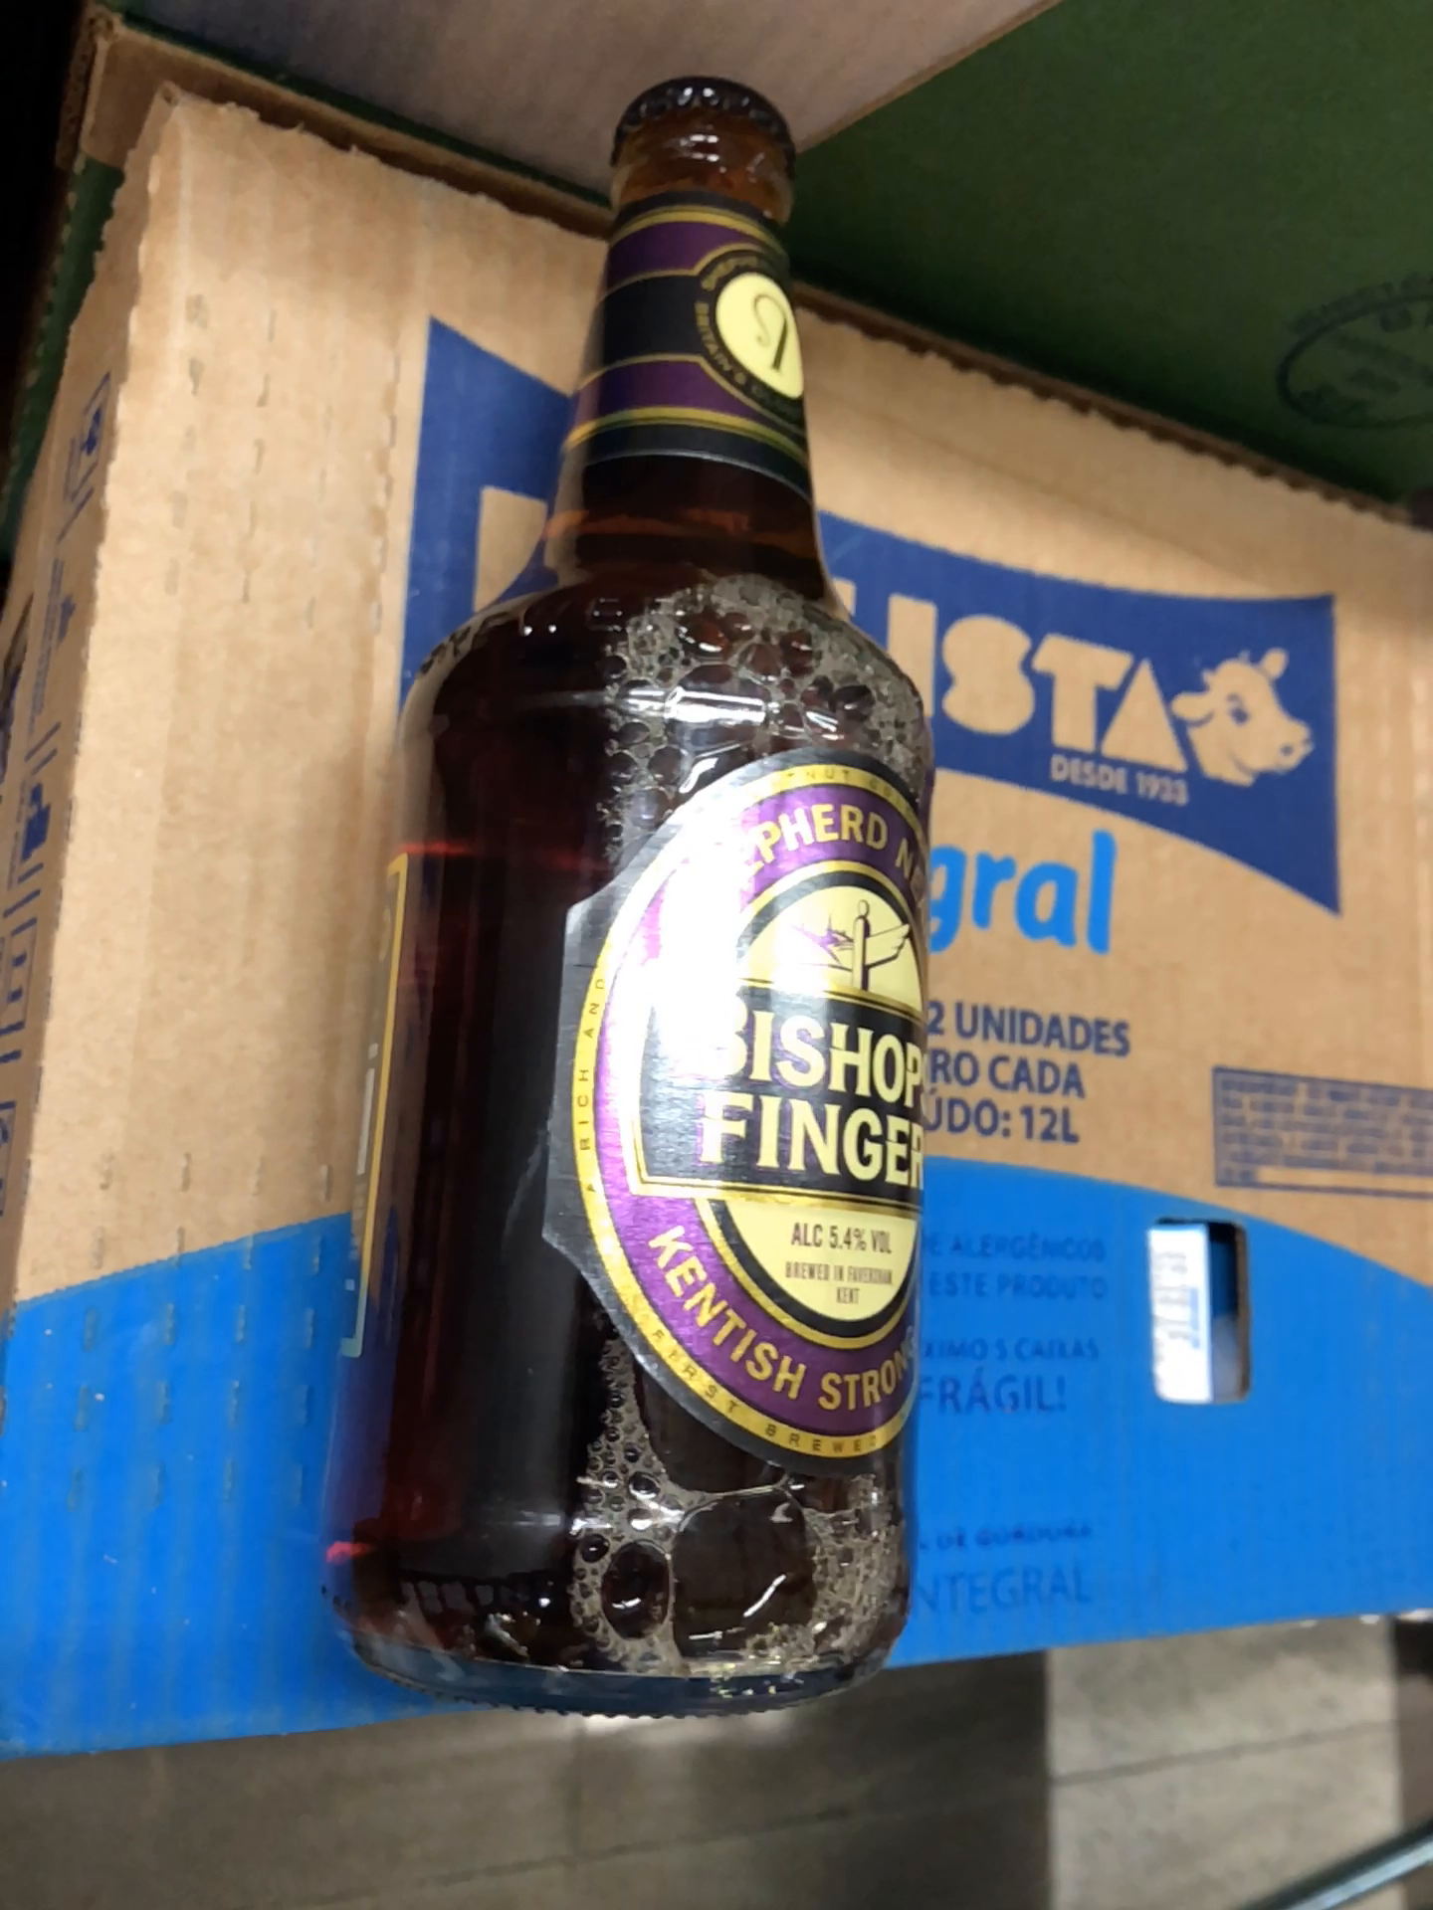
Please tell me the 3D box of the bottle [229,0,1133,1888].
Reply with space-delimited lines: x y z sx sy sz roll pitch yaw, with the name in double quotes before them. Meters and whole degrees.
"bottle" -0.003 -0.032 0.213 0.080 0.070 0.250 9 75 -28
